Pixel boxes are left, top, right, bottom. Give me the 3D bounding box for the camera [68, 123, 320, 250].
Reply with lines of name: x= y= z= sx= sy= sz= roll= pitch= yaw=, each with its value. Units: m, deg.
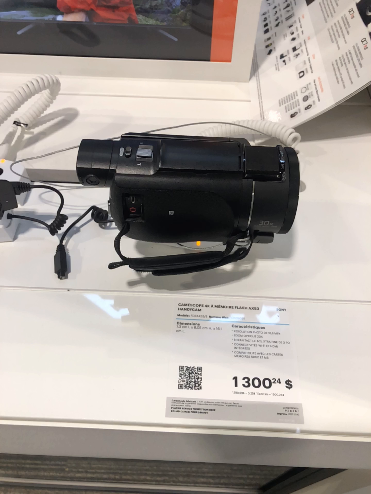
camera: x=0.006 y=-0.046 z=0.320 sx=0.168 sy=0.066 sz=0.061 roll=3 pitch=54 yaw=1
